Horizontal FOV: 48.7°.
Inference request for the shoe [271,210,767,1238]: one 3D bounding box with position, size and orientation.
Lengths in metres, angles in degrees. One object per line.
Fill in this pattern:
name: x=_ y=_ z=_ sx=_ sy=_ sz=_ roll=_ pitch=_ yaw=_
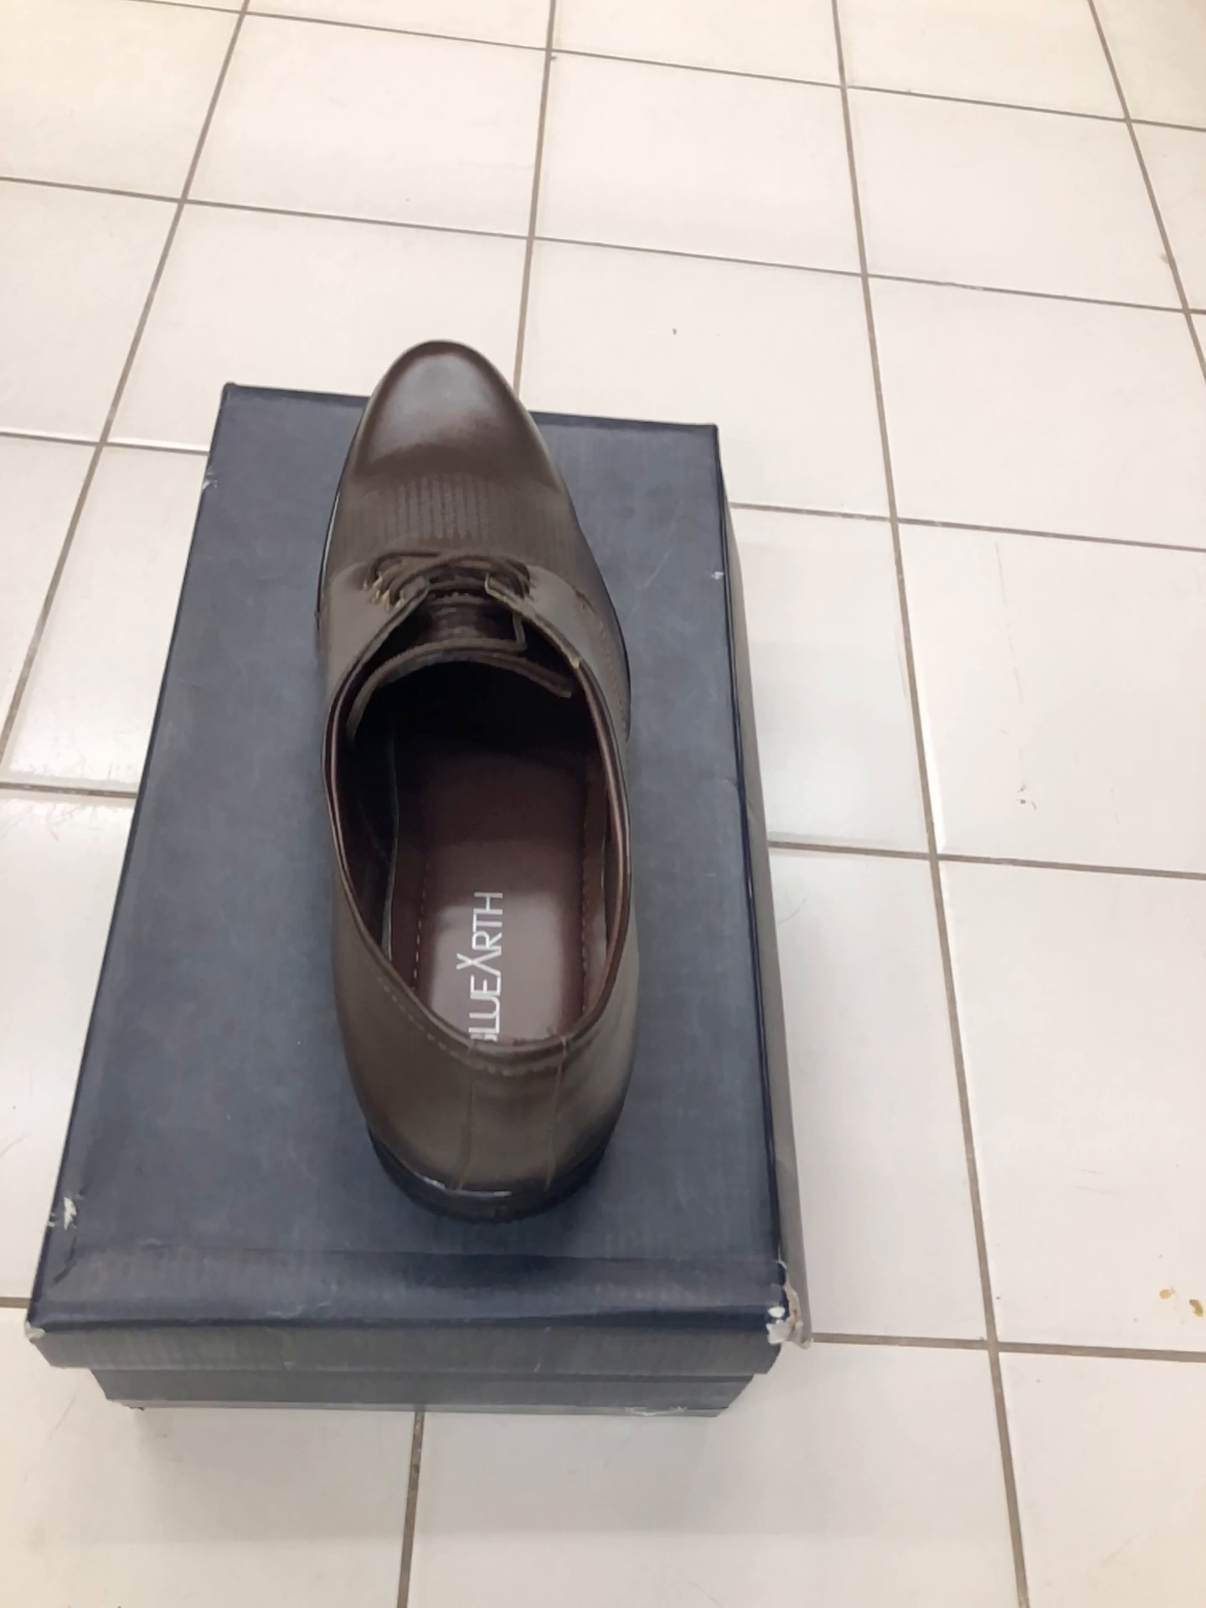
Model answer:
shoe: x=-0.038 y=-0.036 z=0.398 sx=0.104 sy=0.109 sz=0.291 roll=-2 pitch=59 yaw=-9
